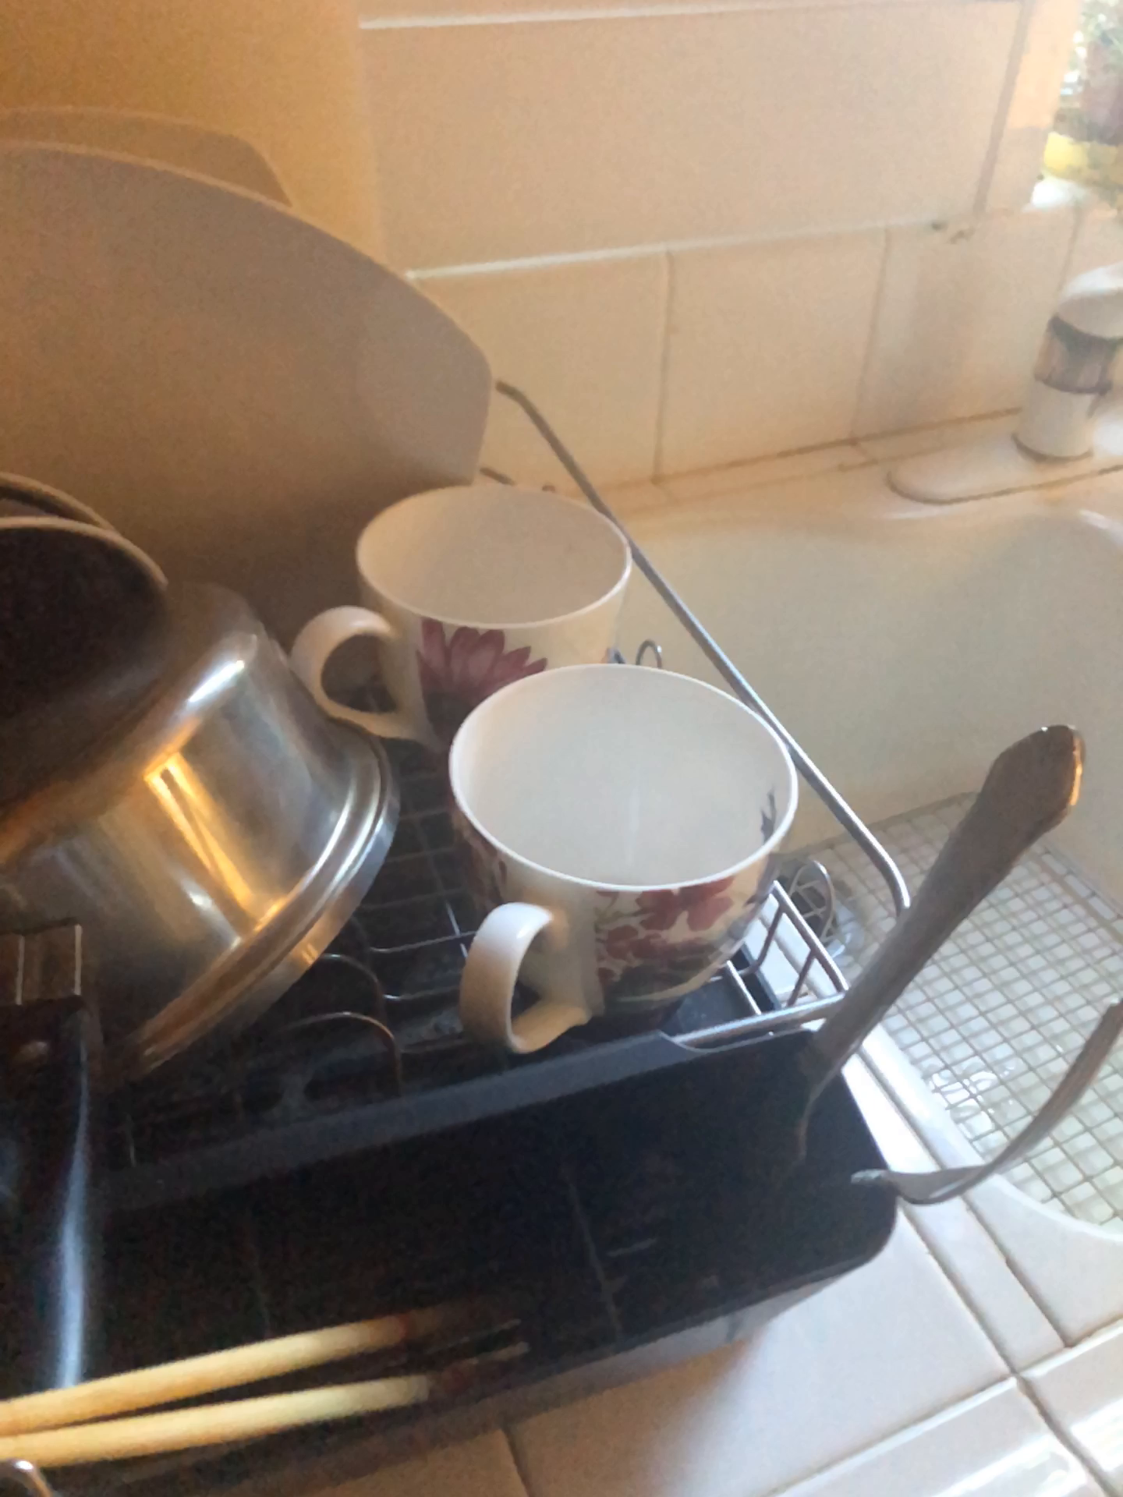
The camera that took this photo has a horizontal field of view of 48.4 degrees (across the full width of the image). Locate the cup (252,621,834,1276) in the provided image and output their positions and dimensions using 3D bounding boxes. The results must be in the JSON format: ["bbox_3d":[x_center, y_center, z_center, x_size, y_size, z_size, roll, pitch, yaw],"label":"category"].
[{"bbox_3d":[0.002,0.052,0.398,0.110,0.089,0.161,20,43,19],"label":"cup"}]

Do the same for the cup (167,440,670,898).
[{"bbox_3d":[-0.053,-0.041,0.510,0.110,0.089,0.161,32,49,30],"label":"cup"}]
